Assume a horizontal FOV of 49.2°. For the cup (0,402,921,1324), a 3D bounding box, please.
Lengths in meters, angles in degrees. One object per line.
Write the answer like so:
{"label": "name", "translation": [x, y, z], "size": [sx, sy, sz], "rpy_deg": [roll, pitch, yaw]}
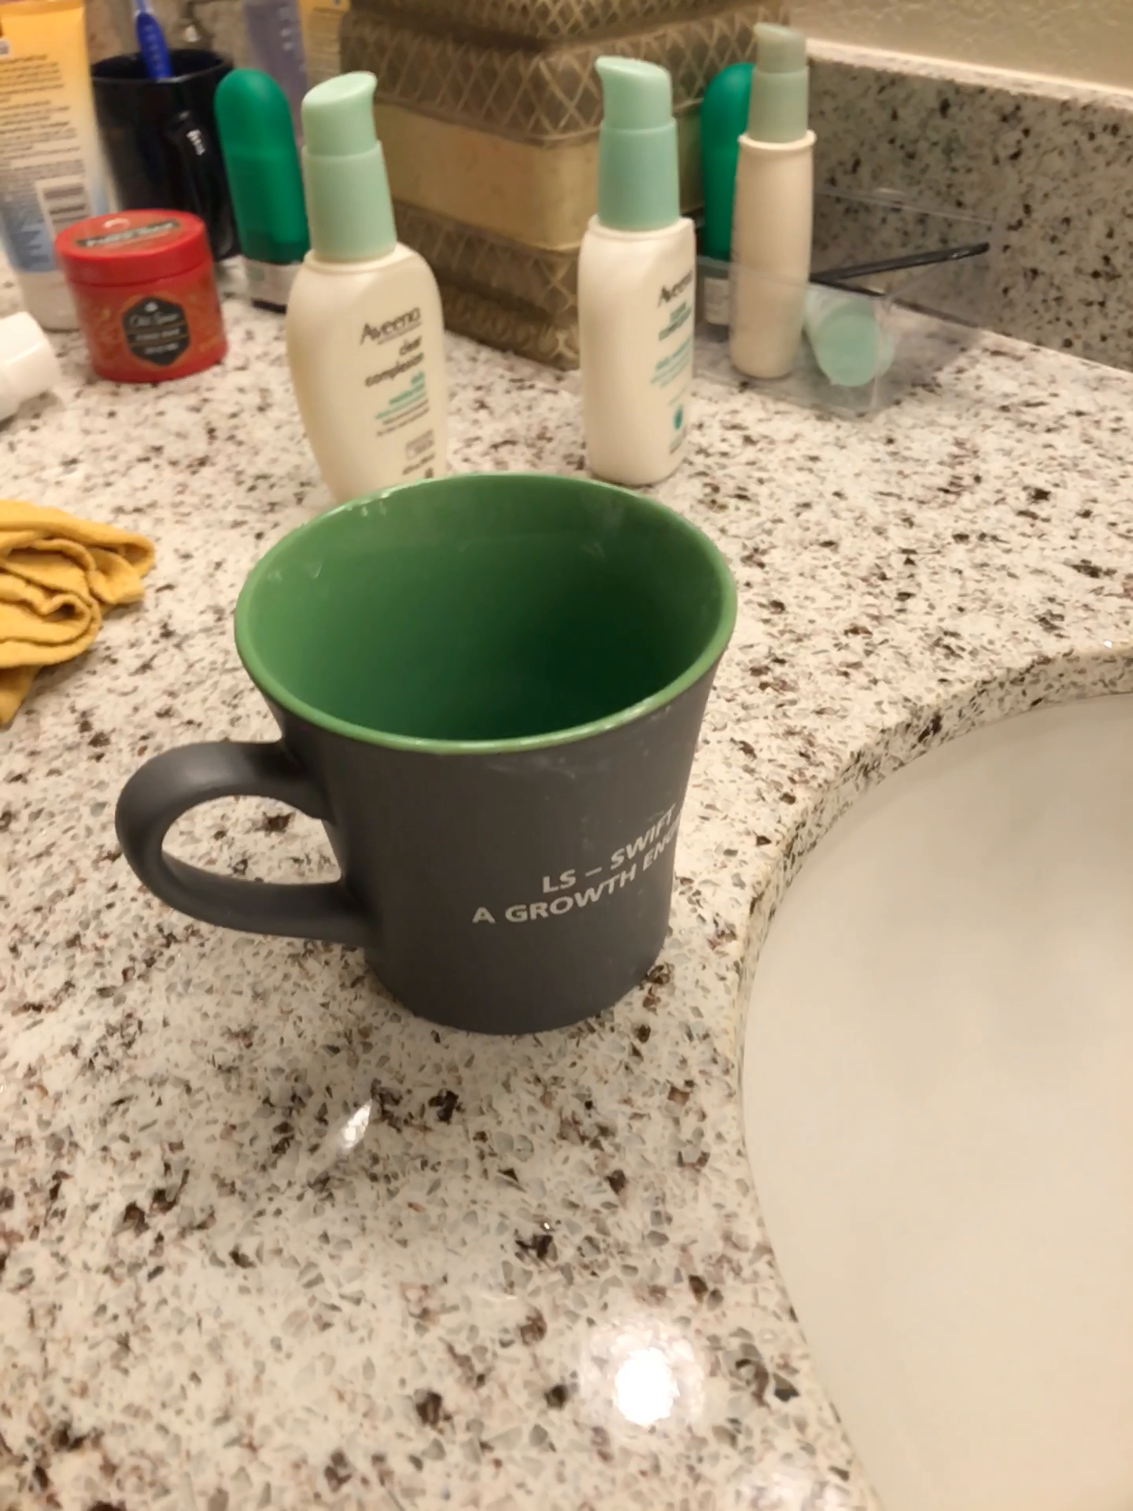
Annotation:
{"label": "cup", "translation": [-0.019, 0.013, 0.263], "size": [0.140, 0.109, 0.100], "rpy_deg": [-27, 46, -26]}
